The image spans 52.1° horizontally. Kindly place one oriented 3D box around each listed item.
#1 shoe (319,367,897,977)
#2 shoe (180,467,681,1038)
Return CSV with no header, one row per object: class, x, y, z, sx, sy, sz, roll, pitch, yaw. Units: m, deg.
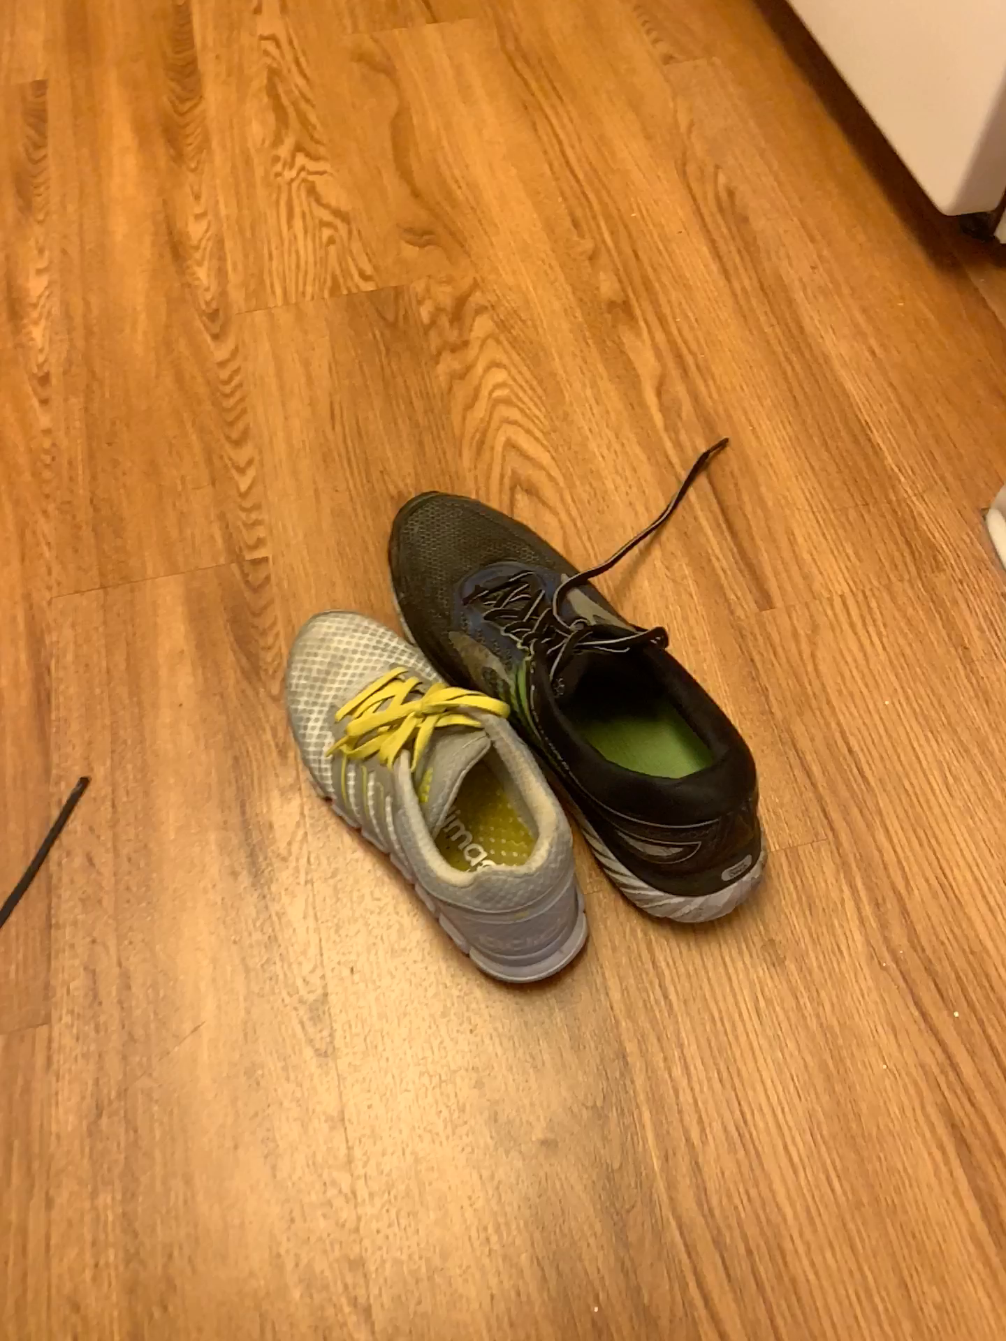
shoe,0.037,-0.008,0.528,0.110,0.110,0.291,-33,64,-17
shoe,-0.041,0.035,0.509,0.100,0.110,0.251,-33,64,-17
